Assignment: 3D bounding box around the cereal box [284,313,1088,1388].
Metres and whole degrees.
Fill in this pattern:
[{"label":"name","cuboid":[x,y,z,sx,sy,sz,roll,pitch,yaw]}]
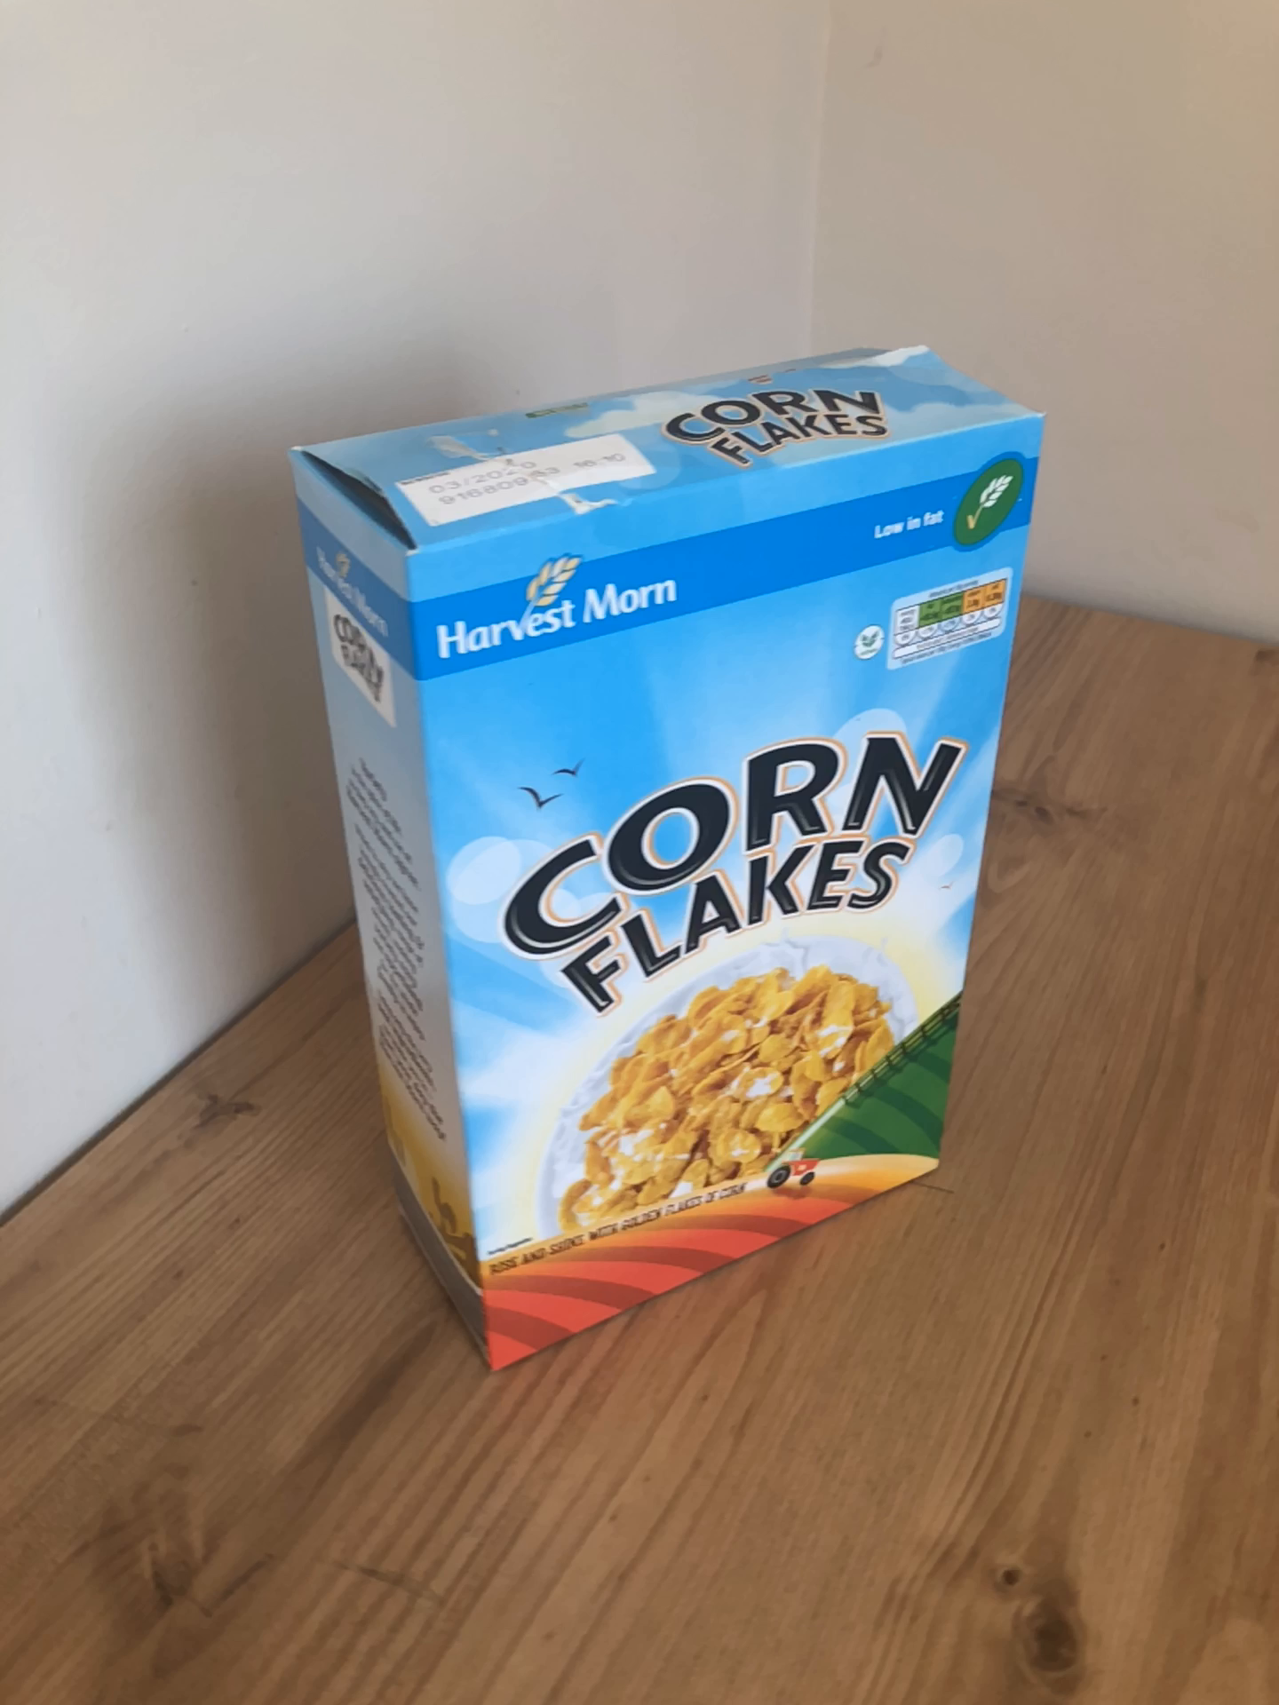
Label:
[{"label":"cereal box","cuboid":[0.017,0.006,0.462,0.200,0.308,0.080,-18,38,-23]}]
